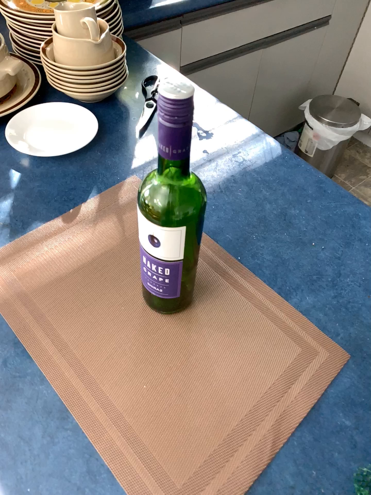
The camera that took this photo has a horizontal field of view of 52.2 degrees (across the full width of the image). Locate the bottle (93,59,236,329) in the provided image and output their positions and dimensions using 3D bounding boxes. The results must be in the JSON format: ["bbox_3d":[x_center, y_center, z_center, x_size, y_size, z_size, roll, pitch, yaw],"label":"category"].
[{"bbox_3d":[-0.022,-0.028,0.402,0.080,0.288,0.081,2,52,-3],"label":"bottle"}]
